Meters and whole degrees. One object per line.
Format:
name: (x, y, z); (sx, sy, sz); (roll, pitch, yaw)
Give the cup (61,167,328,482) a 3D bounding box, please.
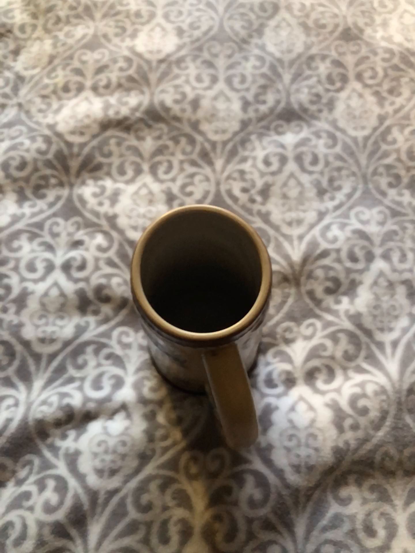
cup: (-0.012, 0.045, 0.335); (0.098, 0.189, 0.144); (-19, 73, -6)
